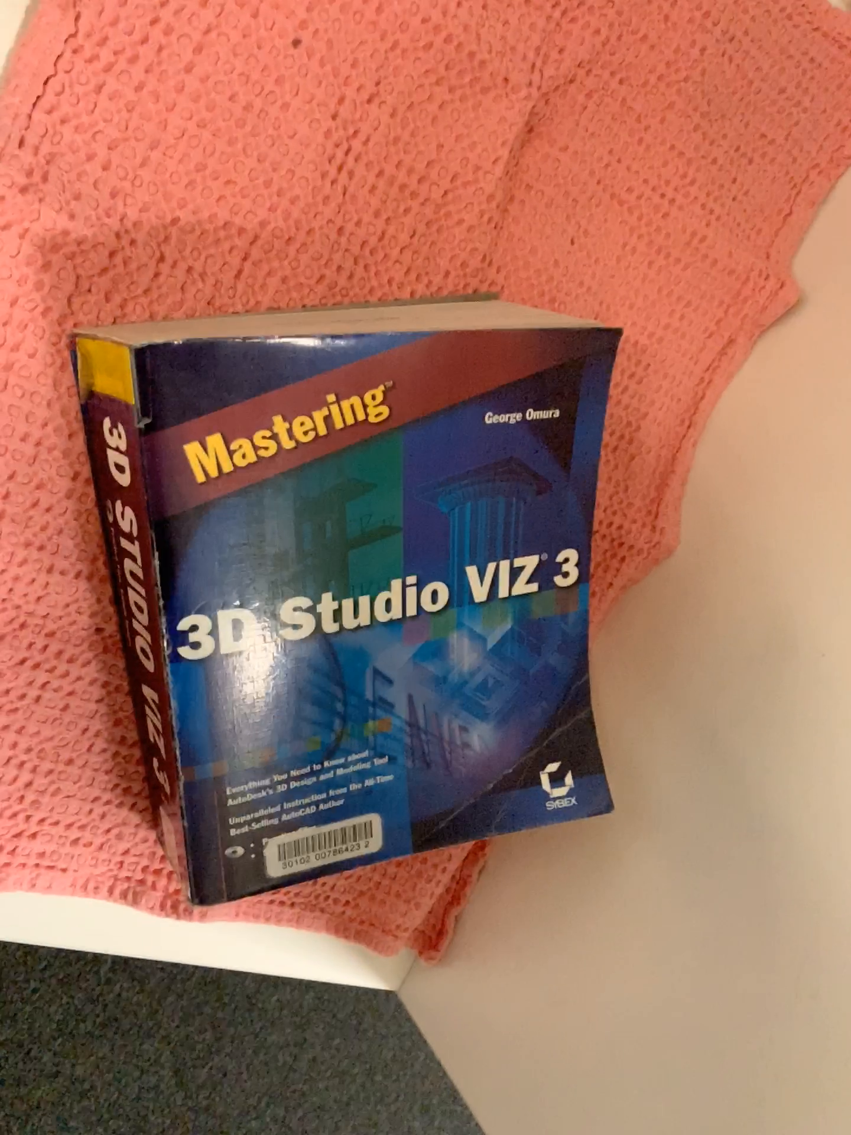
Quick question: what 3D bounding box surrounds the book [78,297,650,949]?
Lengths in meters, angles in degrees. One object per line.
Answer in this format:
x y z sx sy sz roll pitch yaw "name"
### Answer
-0.017 0.010 0.376 0.207 0.077 0.231 -11 112 -26 "book"
